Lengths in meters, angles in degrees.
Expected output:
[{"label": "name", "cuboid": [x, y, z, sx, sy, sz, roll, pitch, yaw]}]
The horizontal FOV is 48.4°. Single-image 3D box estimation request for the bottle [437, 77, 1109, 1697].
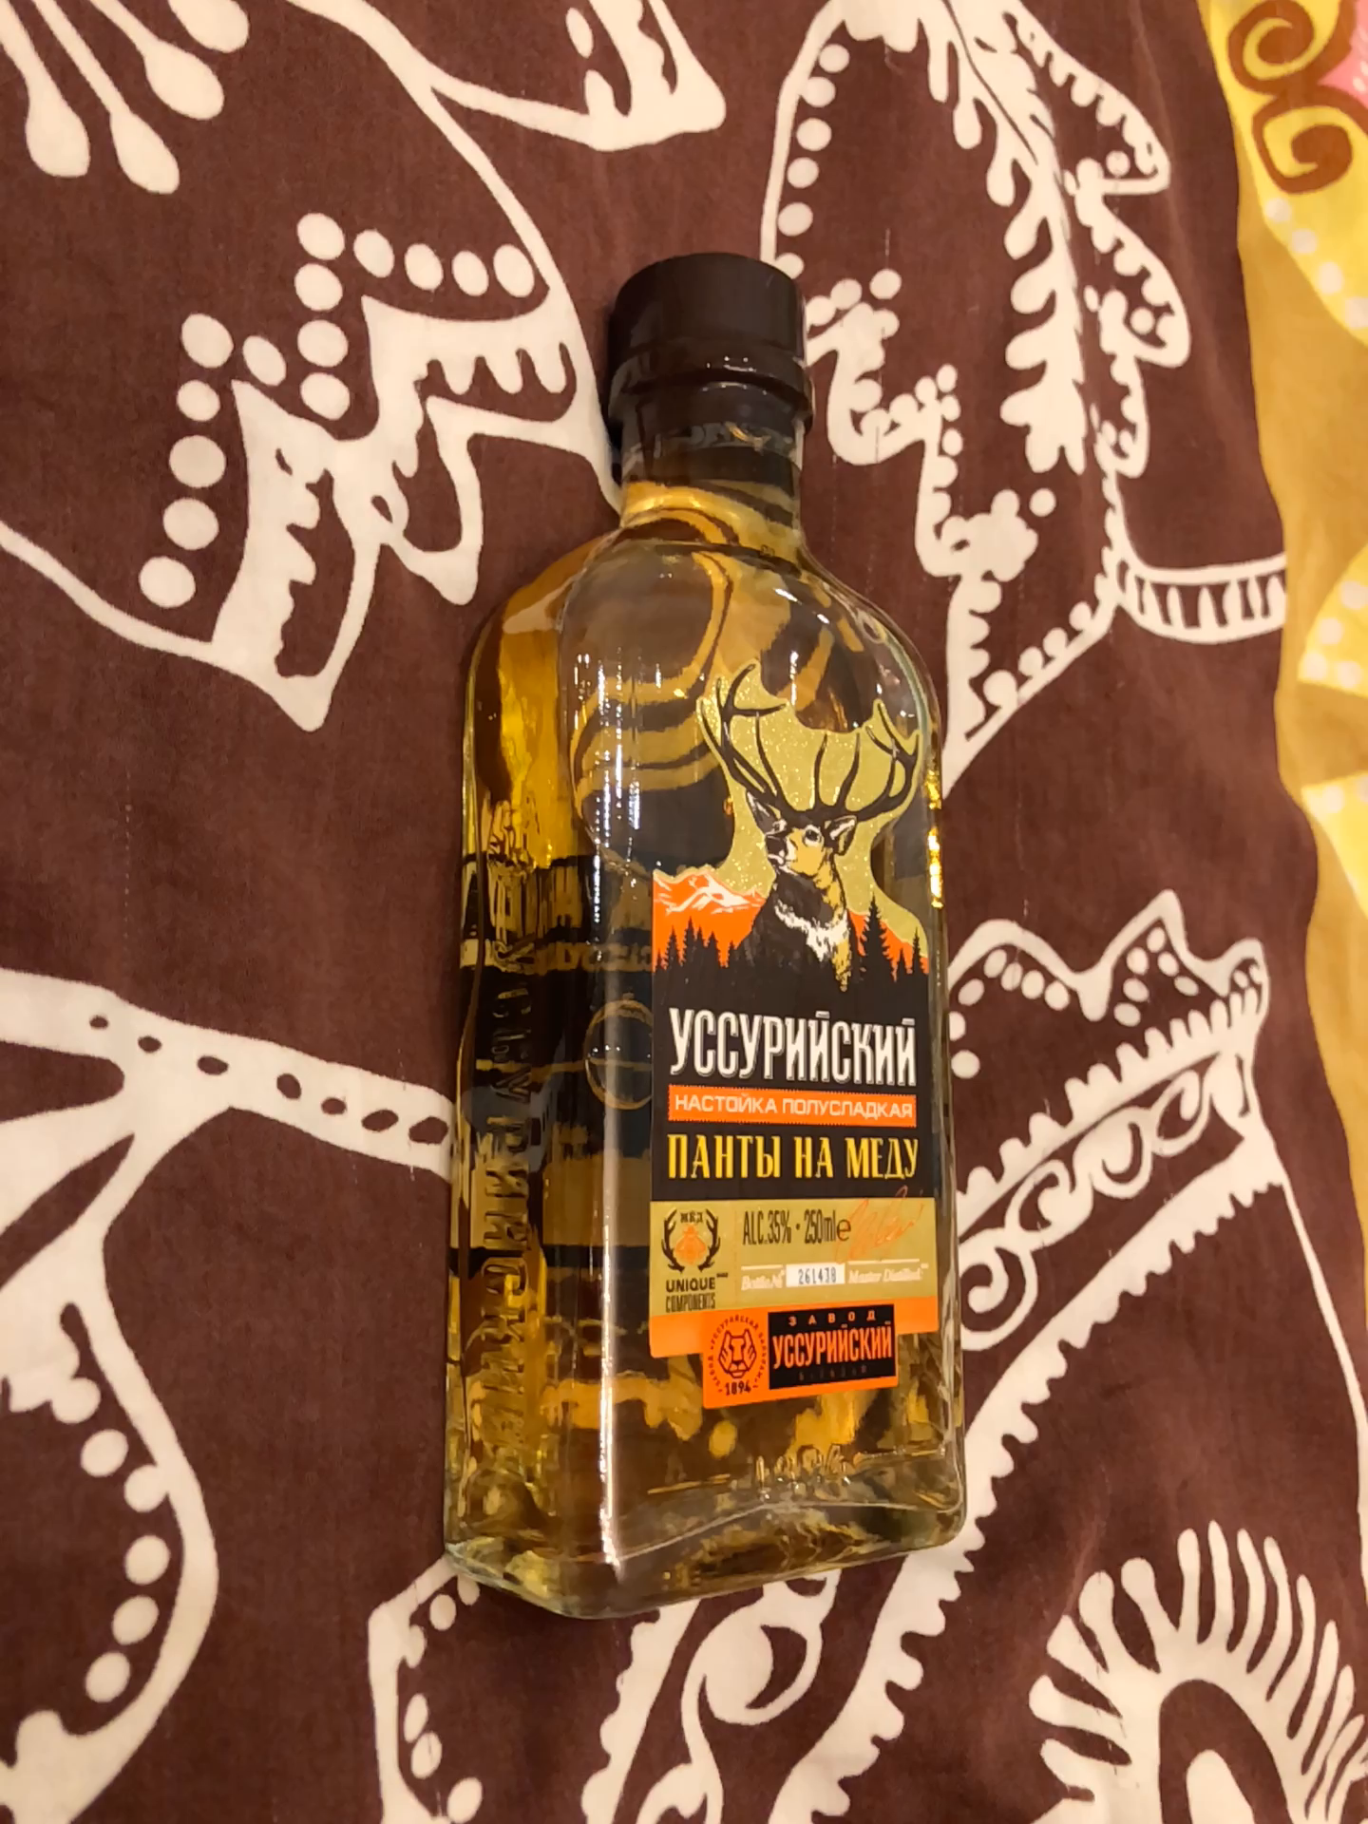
[{"label": "bottle", "cuboid": [0.009, -0.005, 0.214, 0.070, 0.050, 0.190, 7, 75, -35]}]
